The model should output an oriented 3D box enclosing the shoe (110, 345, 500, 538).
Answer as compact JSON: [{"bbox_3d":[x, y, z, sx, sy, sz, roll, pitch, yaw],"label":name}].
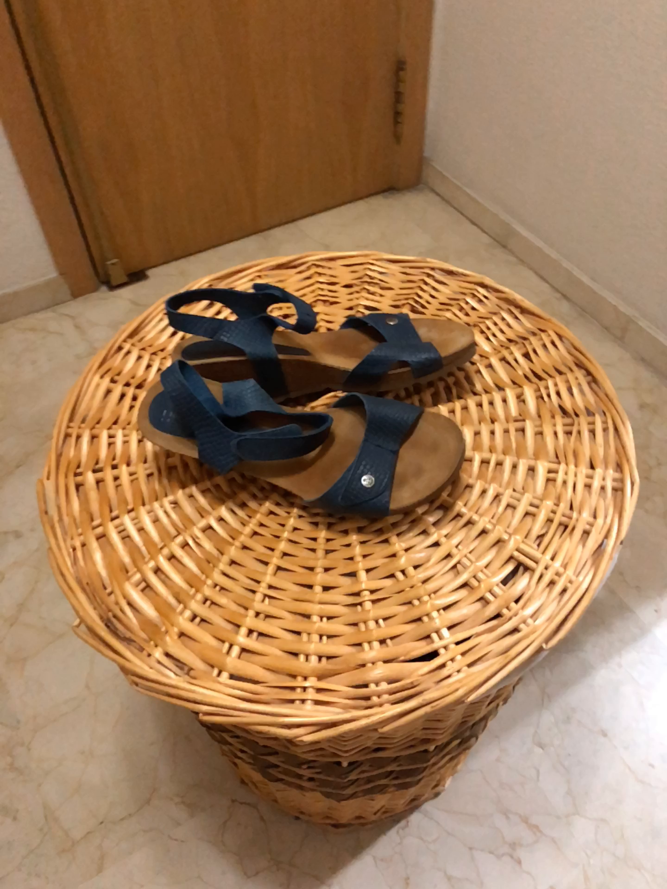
[{"bbox_3d":[-0.020,-0.007,0.574,0.280,0.060,0.090,10,45,10],"label":"shoe"}]

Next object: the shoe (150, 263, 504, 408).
[{"bbox_3d":[-0.007,-0.095,0.632,0.280,0.060,0.090,-5,44,-2],"label":"shoe"}]
